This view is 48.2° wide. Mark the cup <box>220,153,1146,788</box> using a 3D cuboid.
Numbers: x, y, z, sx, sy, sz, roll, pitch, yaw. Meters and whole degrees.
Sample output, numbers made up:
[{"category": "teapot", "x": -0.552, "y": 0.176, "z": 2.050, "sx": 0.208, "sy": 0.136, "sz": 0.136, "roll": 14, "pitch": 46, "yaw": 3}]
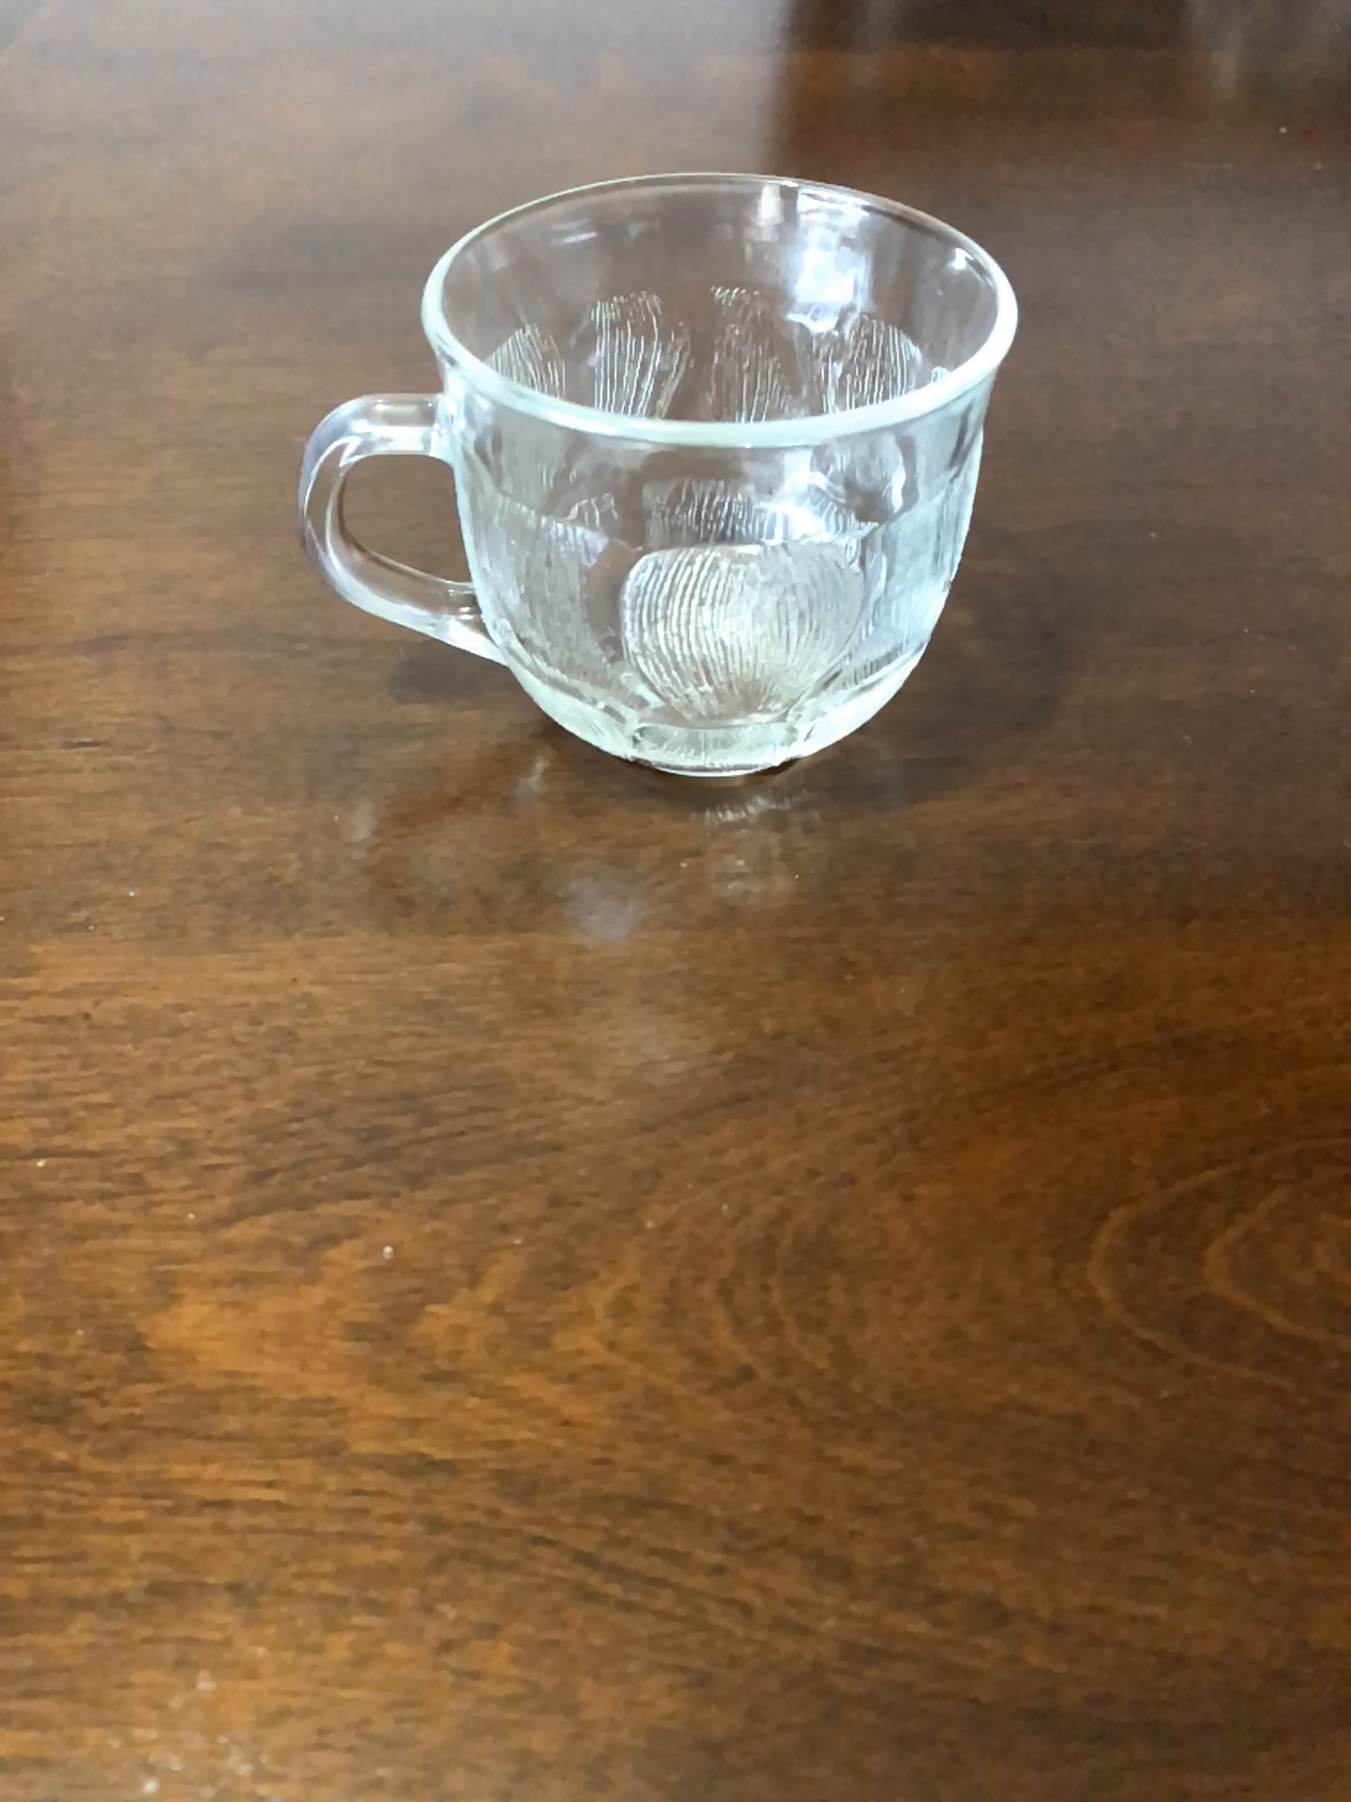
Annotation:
[{"category": "cup", "x": 0.000, "y": -0.062, "z": 0.209, "sx": 0.100, "sy": 0.050, "sz": 0.080, "roll": -1, "pitch": 46, "yaw": -1}]
